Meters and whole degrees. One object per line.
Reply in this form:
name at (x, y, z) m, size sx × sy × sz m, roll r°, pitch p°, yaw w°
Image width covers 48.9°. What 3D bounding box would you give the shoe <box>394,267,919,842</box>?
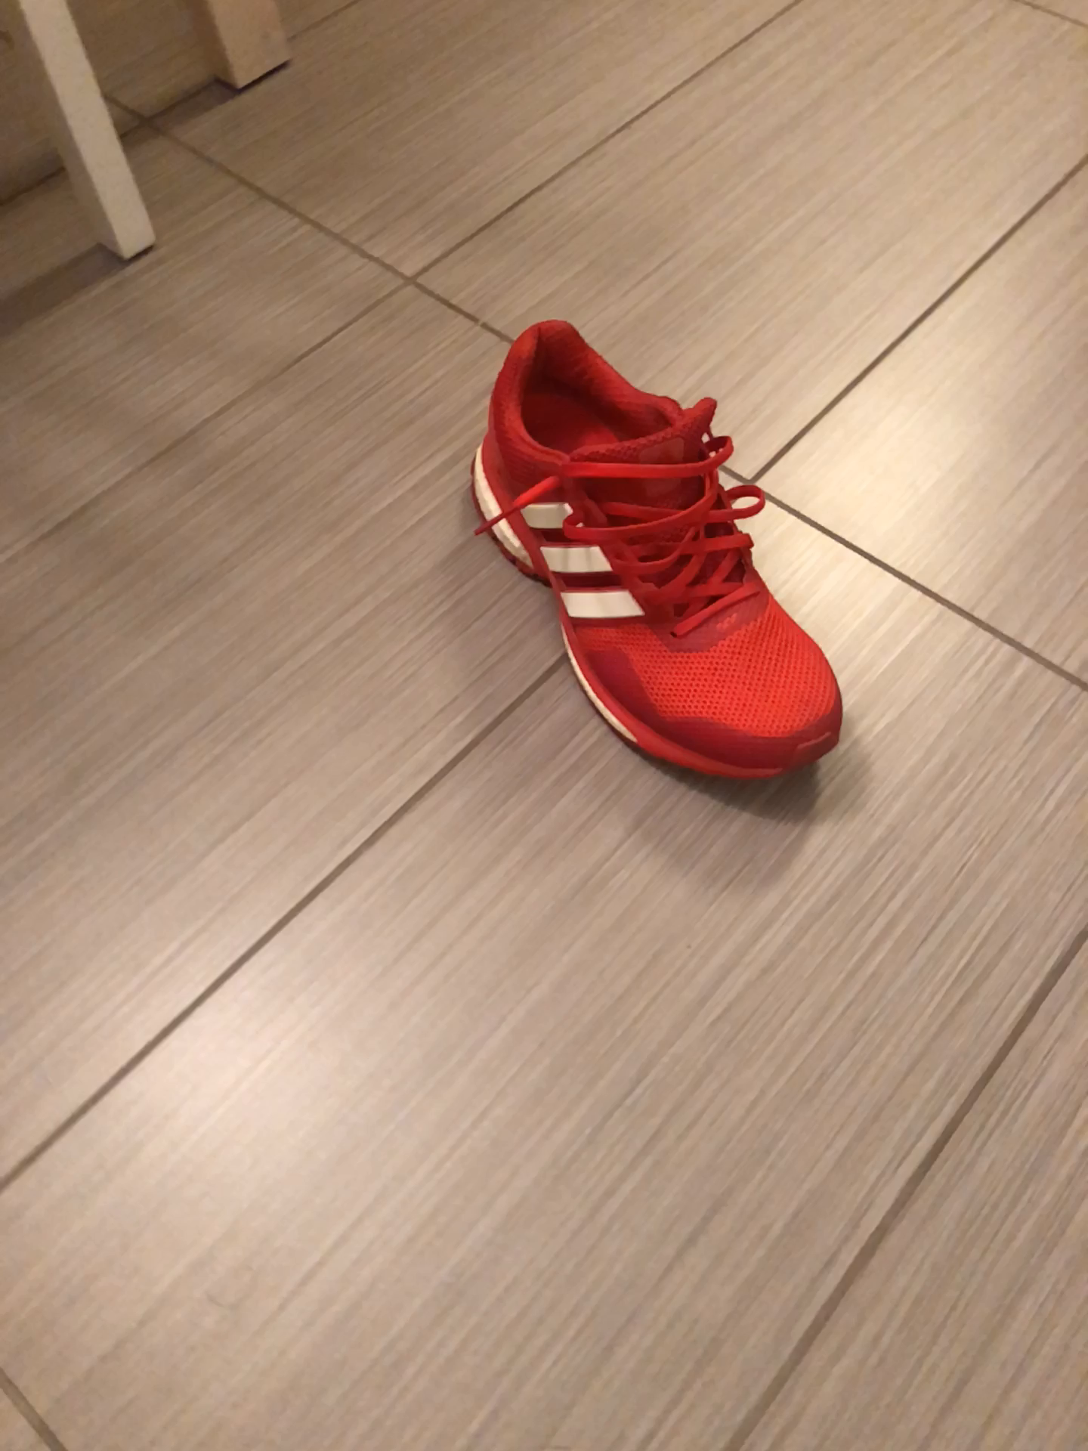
shoe at (0.045, -0.101, 0.634) m, size 0.120 × 0.100 × 0.291 m, roll -27°, pitch 61°, yaw -14°
